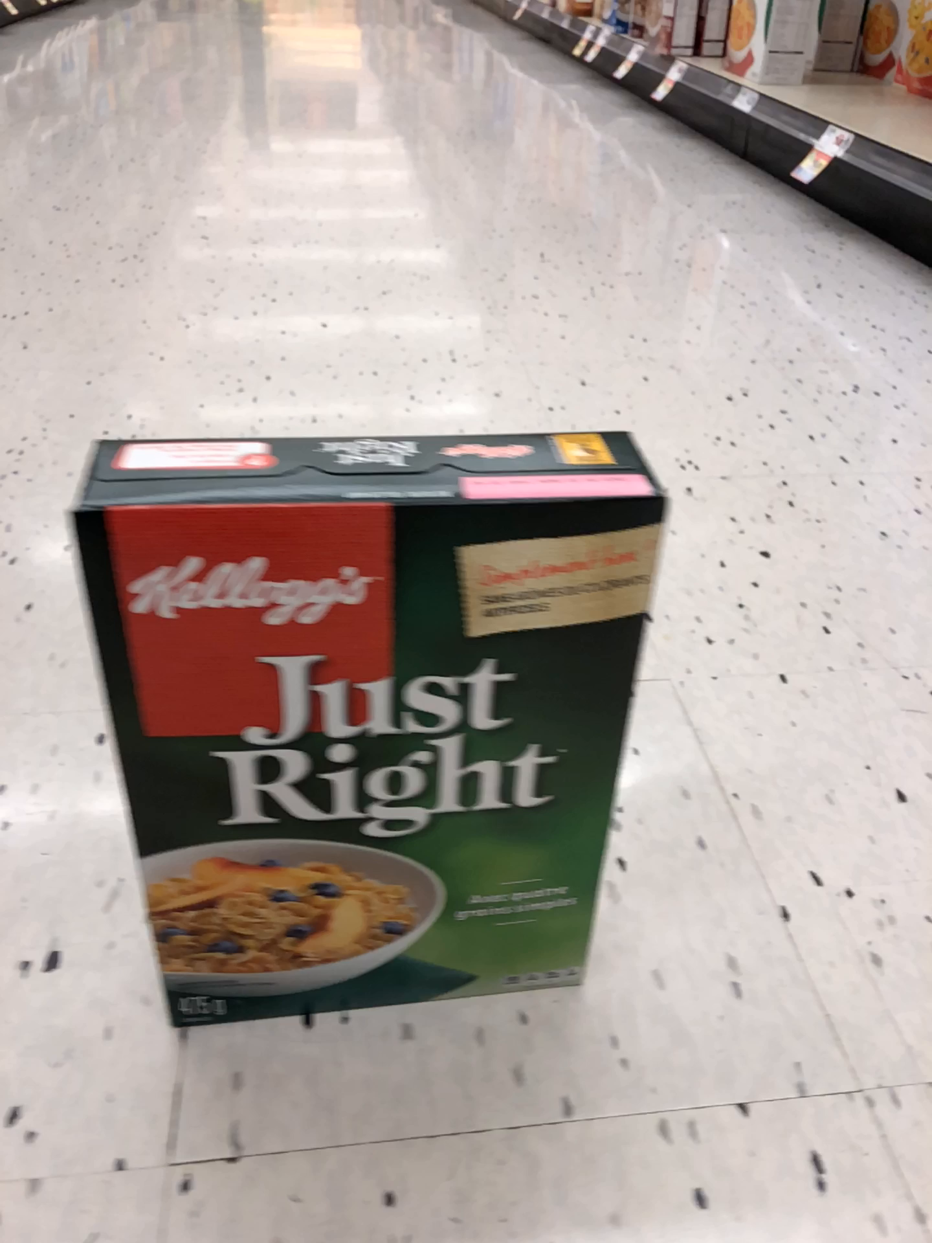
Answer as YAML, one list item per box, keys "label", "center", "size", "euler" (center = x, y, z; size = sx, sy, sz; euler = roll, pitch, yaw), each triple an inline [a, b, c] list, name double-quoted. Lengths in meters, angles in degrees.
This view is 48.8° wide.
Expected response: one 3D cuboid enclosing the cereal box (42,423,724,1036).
- label: "cereal box"
  center: [-0.029, 0.057, 0.414]
  size: [0.210, 0.268, 0.050]
  euler: [-2, 35, -7]
